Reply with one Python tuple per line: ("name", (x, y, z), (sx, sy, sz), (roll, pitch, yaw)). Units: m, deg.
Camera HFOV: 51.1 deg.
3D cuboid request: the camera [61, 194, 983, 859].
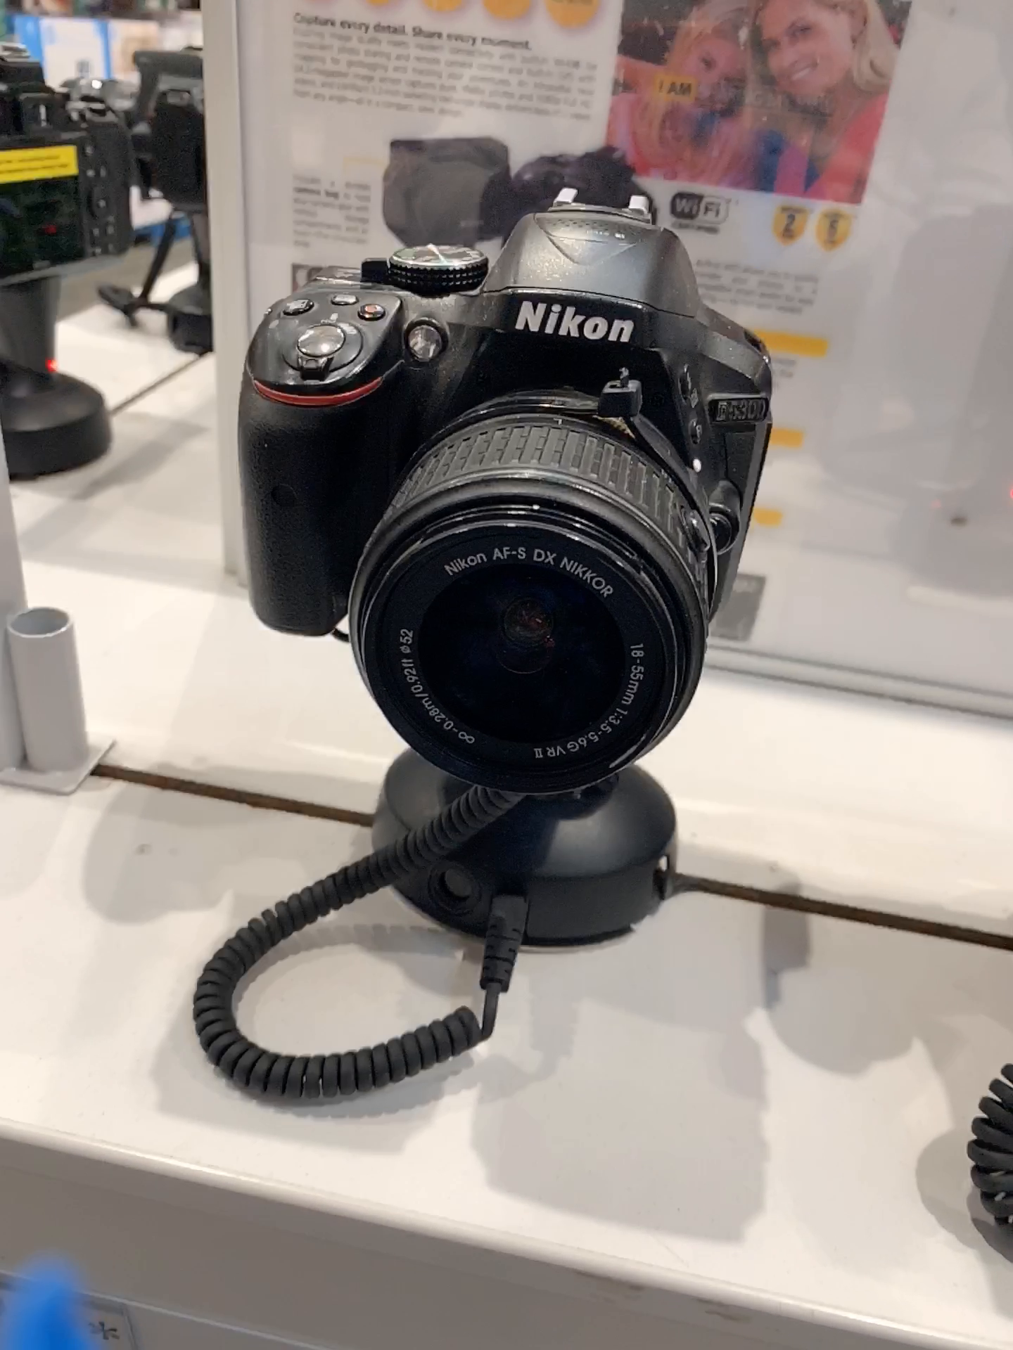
("camera", (0.004, -0.044, 0.215), (0.120, 0.069, 0.141), (8, 31, 2))
